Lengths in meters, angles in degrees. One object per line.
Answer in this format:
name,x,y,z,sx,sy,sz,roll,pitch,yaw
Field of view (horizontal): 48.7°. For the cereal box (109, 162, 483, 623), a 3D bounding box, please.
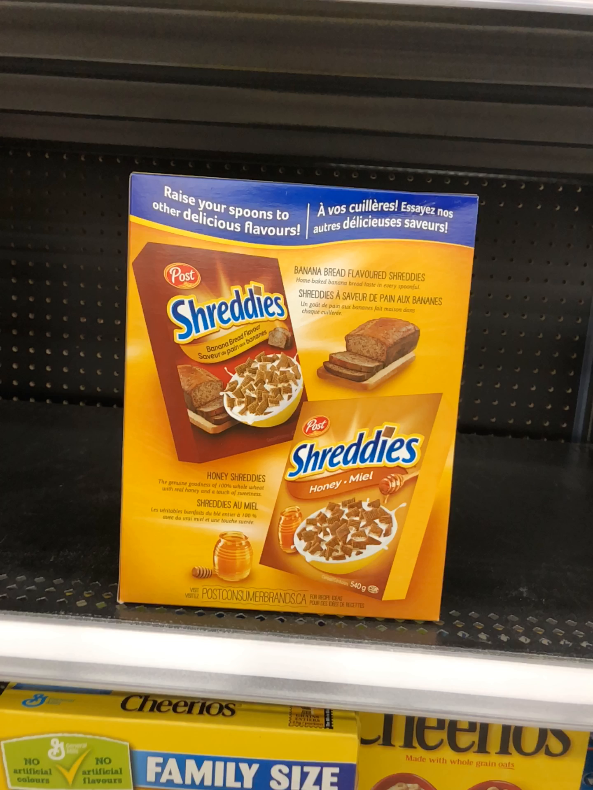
cereal box,-0.005,0.001,0.427,0.210,0.269,0.060,4,8,-1
